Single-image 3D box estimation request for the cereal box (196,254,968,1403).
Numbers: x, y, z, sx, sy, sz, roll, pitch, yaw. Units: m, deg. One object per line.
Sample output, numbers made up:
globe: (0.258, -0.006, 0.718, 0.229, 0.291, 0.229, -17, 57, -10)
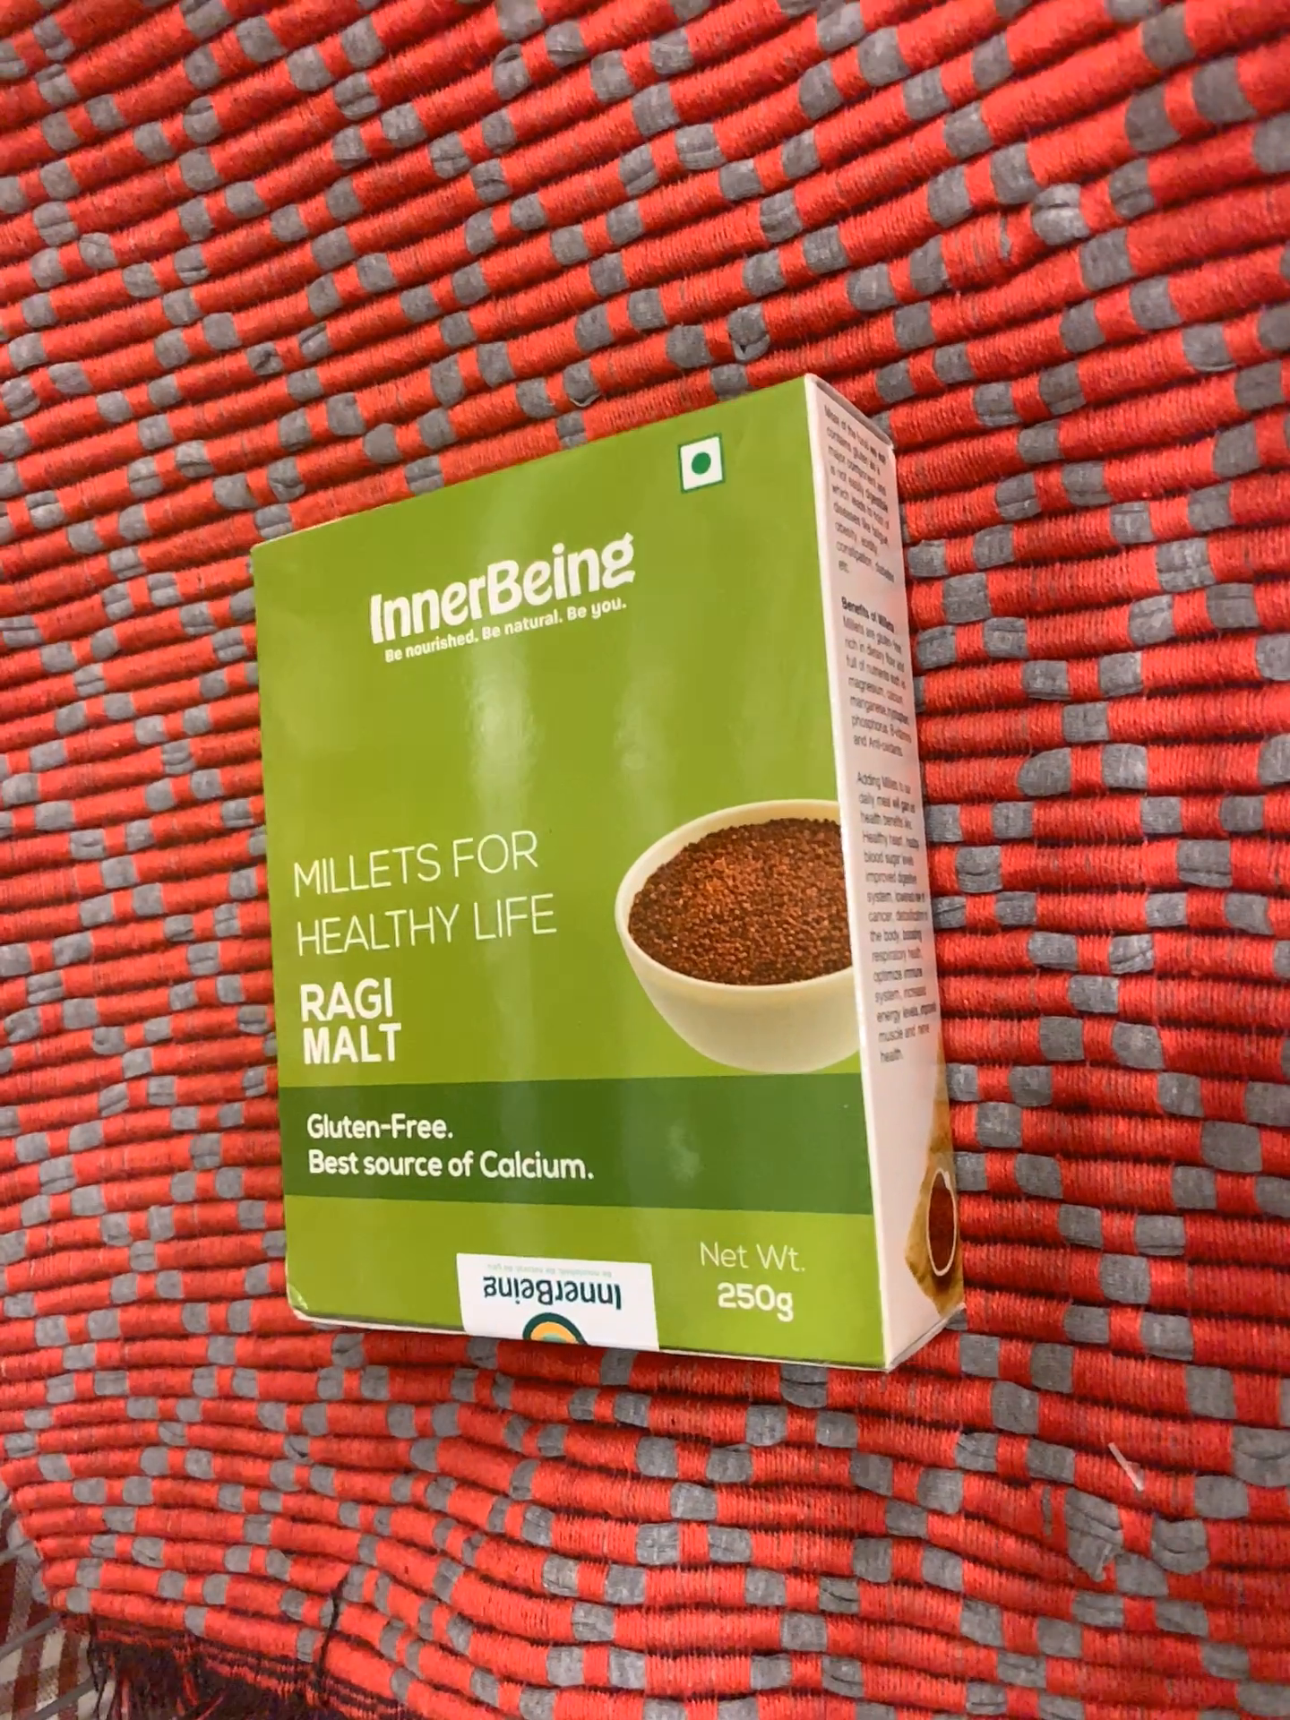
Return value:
cereal box: (-0.018, -0.001, 0.250, 0.131, 0.050, 0.170, -6, 84, 31)
